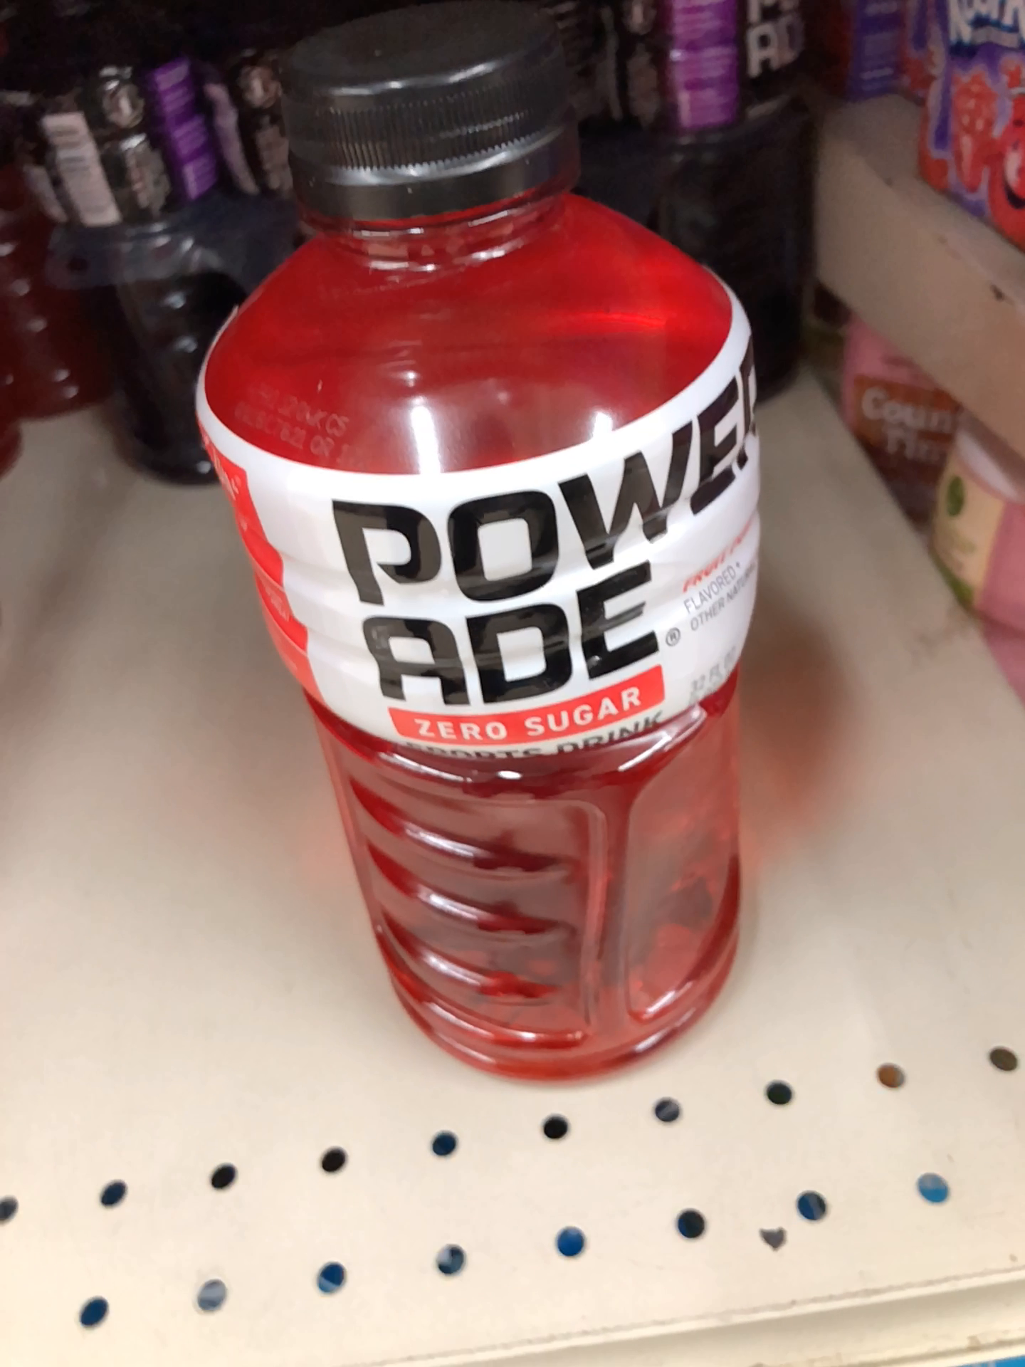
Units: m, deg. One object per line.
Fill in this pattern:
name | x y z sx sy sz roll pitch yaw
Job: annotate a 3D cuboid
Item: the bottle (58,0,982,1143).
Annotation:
bottle | 0.002 -0.017 0.214 0.095 0.190 0.095 -5 43 4
